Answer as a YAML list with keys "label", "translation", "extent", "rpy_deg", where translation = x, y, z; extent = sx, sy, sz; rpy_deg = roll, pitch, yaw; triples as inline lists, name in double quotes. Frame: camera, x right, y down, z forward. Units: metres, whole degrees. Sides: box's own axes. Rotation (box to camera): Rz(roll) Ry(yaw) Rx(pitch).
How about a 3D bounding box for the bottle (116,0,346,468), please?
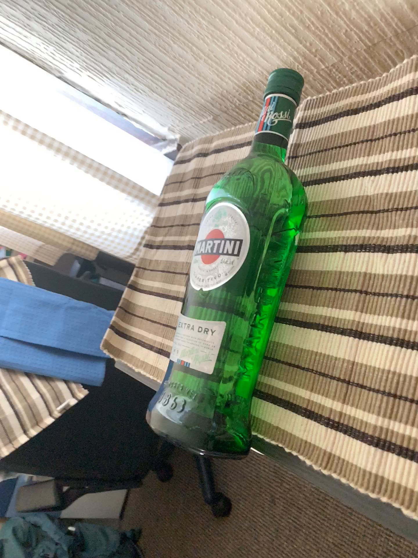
- label: "bottle"
  translation: [0.018, -0.033, 0.337]
  extent: [0.091, 0.069, 0.320]
  rpy_deg: [4, 79, 54]
